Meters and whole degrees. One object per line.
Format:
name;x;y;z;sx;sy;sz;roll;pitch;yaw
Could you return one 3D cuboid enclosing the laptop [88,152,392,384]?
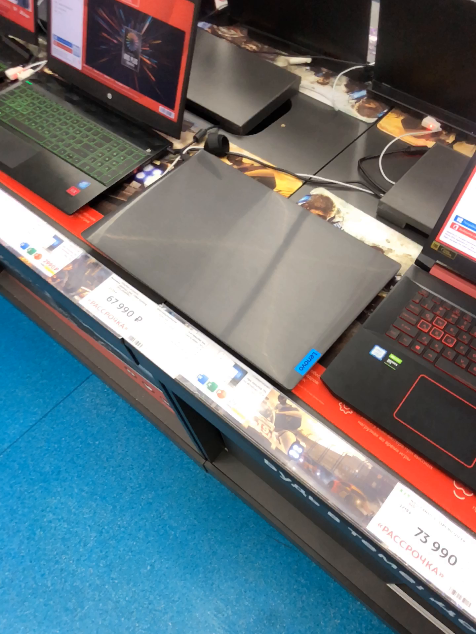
laptop;0.002;-0.104;0.797;0.389;0.002;0.269;35;61;20
